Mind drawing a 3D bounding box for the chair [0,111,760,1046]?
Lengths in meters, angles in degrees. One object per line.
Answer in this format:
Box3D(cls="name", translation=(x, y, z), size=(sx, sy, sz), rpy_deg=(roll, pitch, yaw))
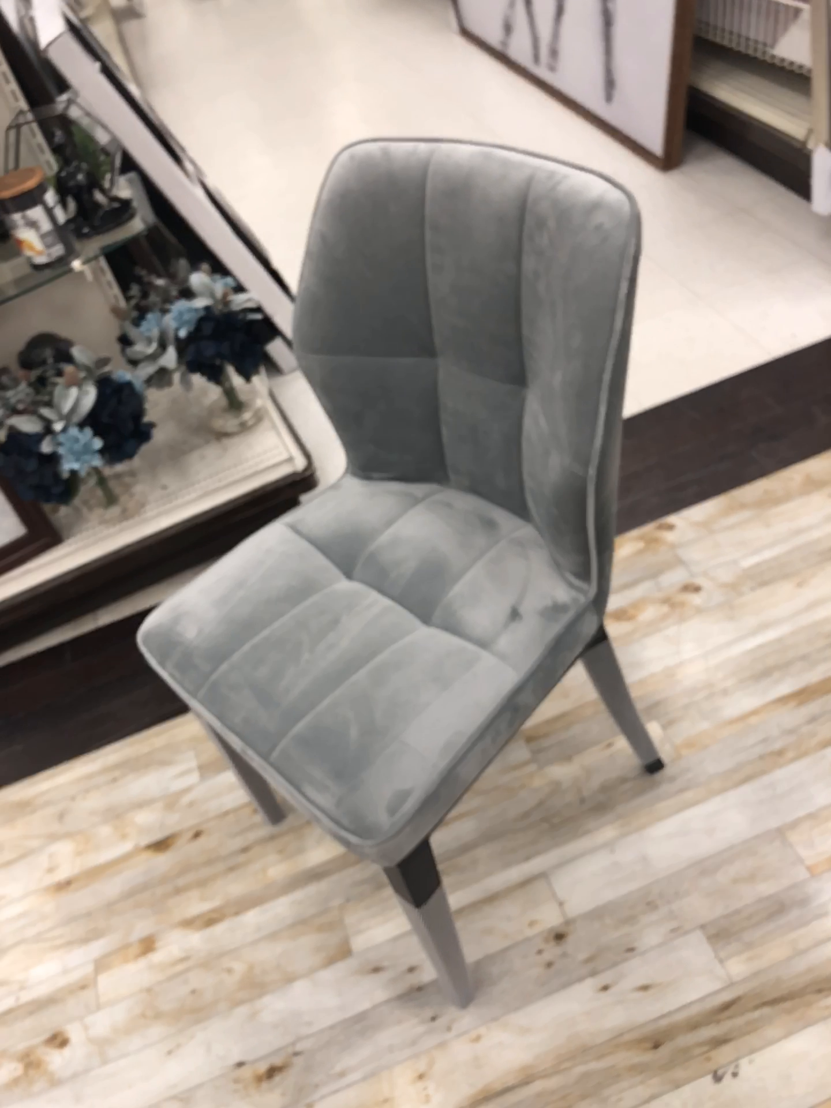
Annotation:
Box3D(cls="chair", translation=(0.004, 0.035, 1.126), size=(0.571, 0.837, 0.531), rpy_deg=(-41, 48, -23))
